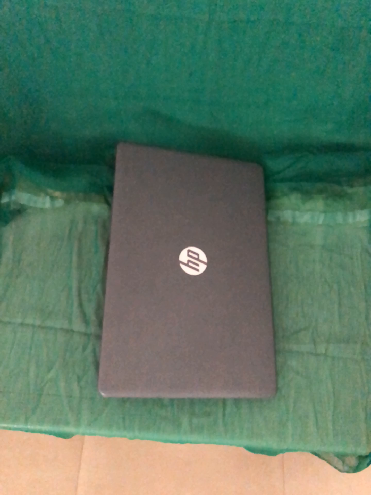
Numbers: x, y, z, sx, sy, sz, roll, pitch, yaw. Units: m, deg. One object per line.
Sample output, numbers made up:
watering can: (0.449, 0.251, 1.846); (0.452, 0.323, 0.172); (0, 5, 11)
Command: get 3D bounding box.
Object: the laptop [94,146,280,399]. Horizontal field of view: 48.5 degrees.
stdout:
laptop: (0.005, 0.027, 0.605); (0.231, 0.067, 0.359); (2, 69, 0)
